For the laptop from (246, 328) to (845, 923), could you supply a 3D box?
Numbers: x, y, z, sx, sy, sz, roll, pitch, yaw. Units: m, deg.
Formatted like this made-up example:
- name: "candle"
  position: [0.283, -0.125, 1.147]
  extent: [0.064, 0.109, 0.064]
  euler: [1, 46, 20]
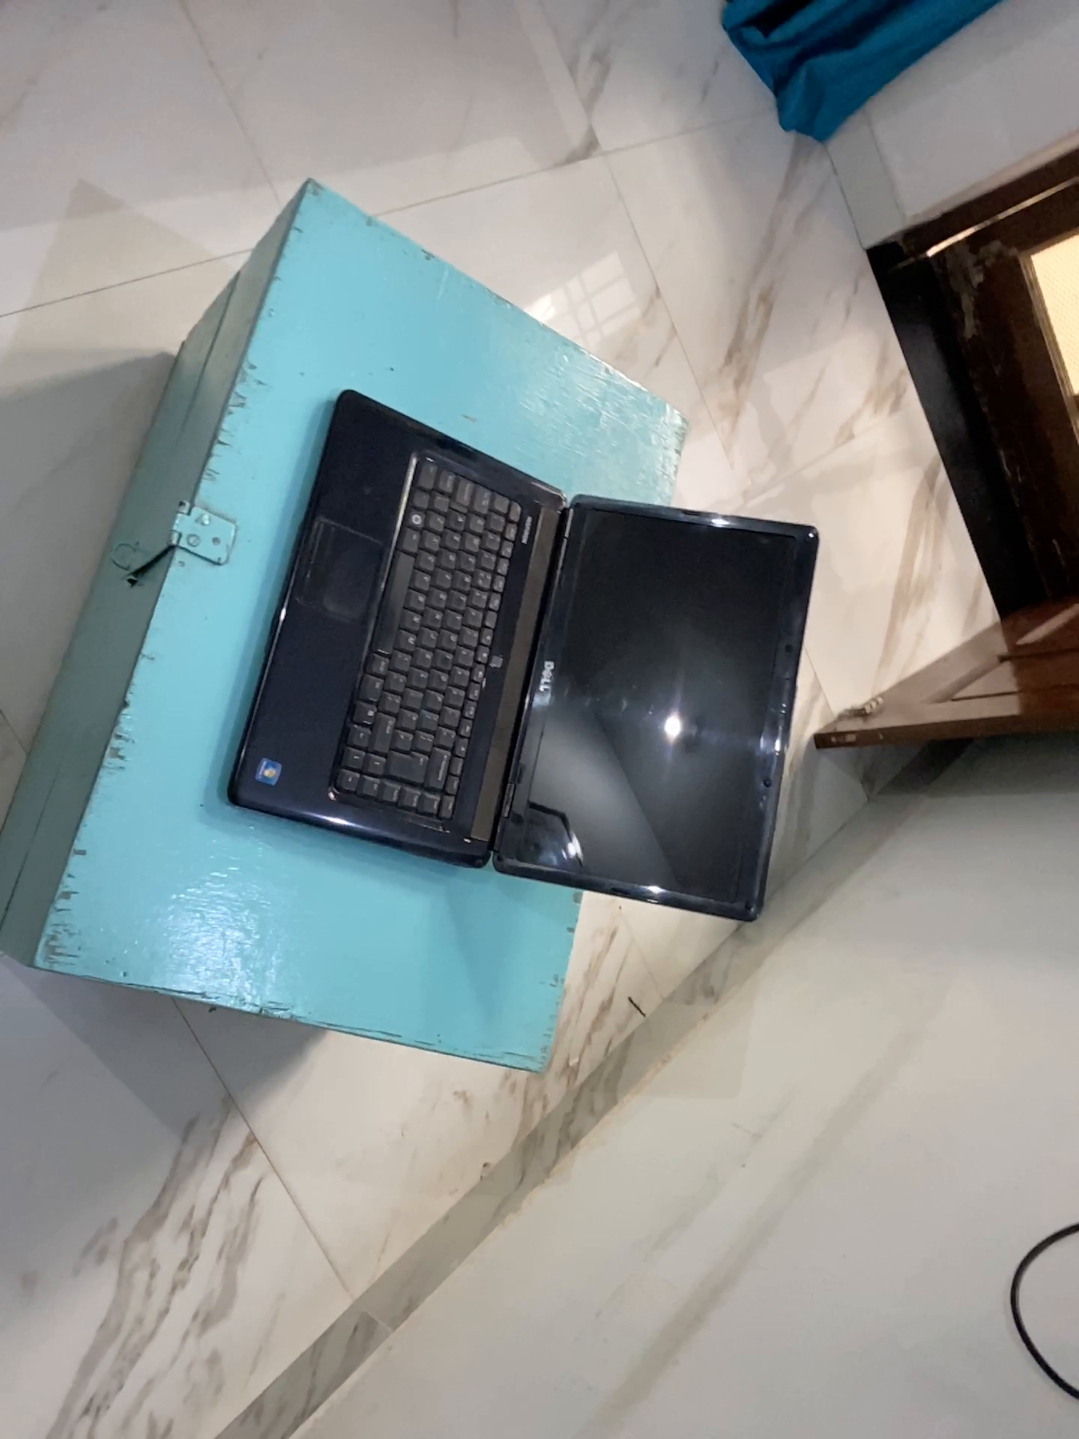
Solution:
- name: "laptop"
  position: [0.026, -0.053, 0.935]
  extent: [0.413, 0.162, 0.363]
  euler: [19, 74, -29]
